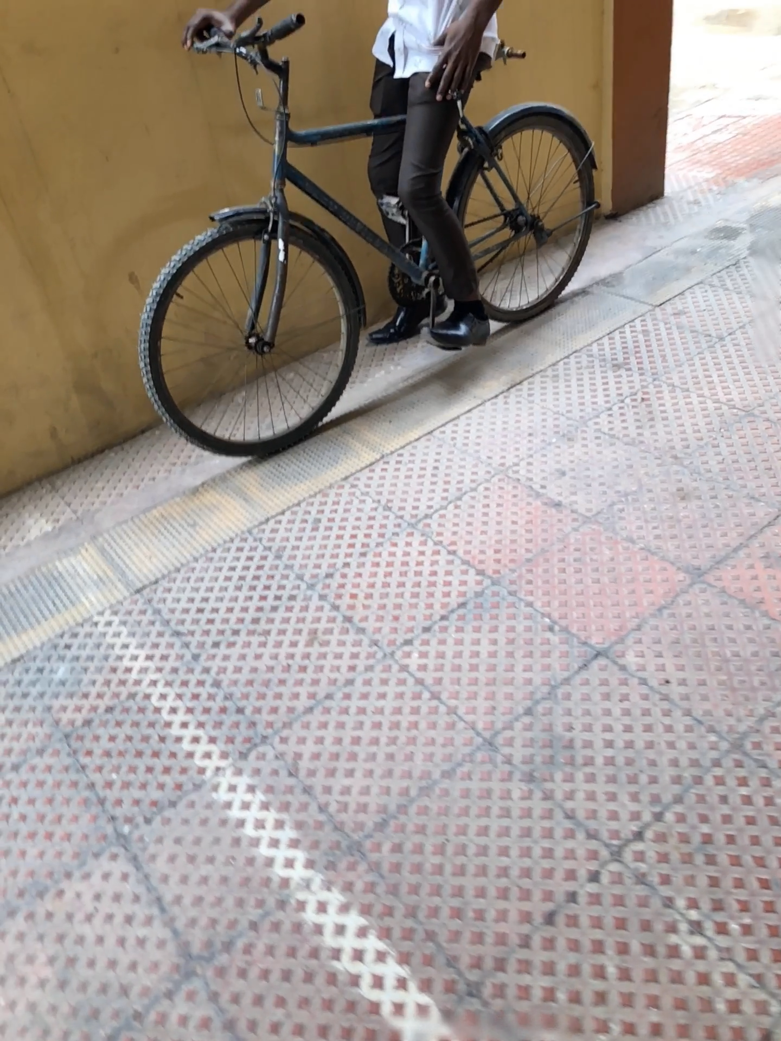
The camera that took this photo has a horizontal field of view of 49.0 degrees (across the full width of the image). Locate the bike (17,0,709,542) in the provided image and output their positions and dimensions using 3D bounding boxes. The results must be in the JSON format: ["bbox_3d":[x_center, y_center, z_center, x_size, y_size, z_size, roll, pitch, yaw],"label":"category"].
[{"bbox_3d":[0.070,-0.827,2.202,1.578,1.024,0.589,-28,41,-25],"label":"bike"}]
